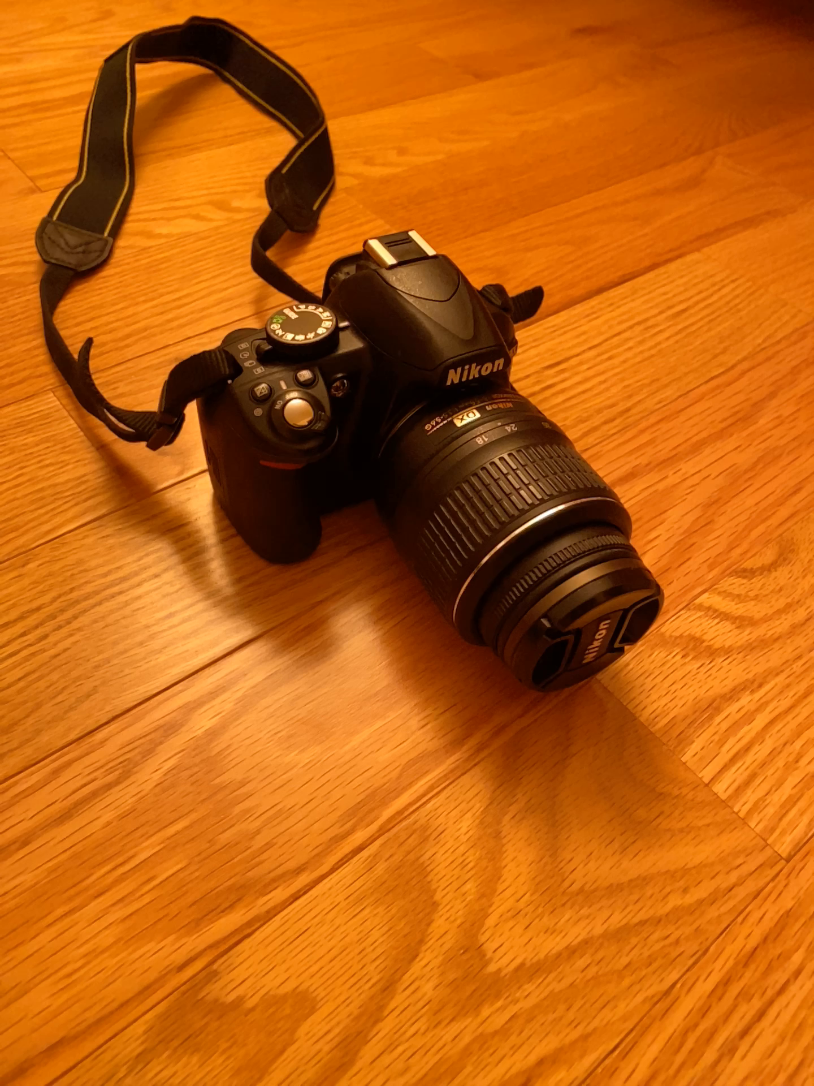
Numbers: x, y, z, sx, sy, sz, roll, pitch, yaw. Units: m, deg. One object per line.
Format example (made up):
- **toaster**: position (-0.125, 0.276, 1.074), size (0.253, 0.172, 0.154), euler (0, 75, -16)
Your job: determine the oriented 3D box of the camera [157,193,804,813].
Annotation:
- **camera**: position (0.012, -0.025, 0.293), size (0.130, 0.099, 0.161), euler (-22, 54, -22)
